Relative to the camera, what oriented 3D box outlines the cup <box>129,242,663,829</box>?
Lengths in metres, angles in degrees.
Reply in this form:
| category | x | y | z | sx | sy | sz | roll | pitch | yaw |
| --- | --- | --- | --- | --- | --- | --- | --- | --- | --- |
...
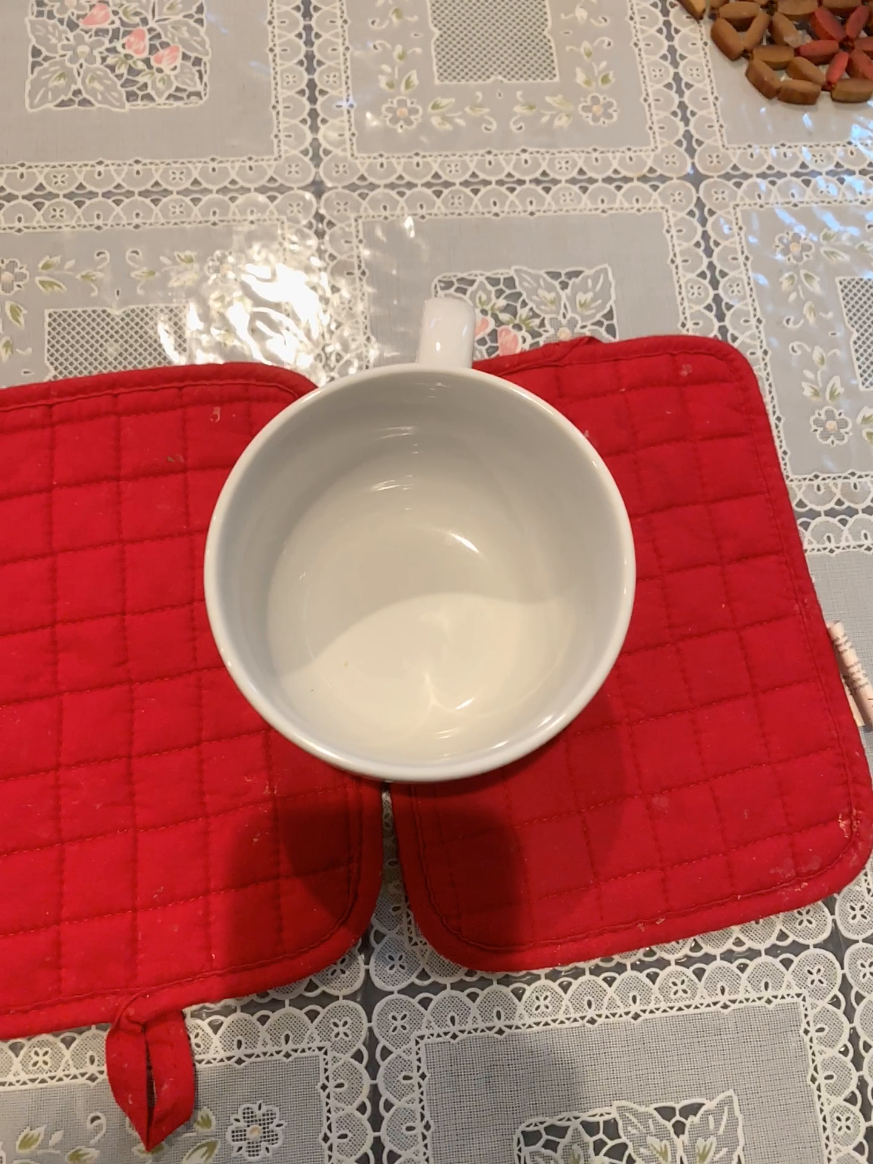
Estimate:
| category | x | y | z | sx | sy | sz | roll | pitch | yaw |
| --- | --- | --- | --- | --- | --- | --- | --- | --- | --- |
| cup | -0.007 | -0.007 | 0.263 | 0.120 | 0.080 | 0.140 | 5 | 76 | -3 |
